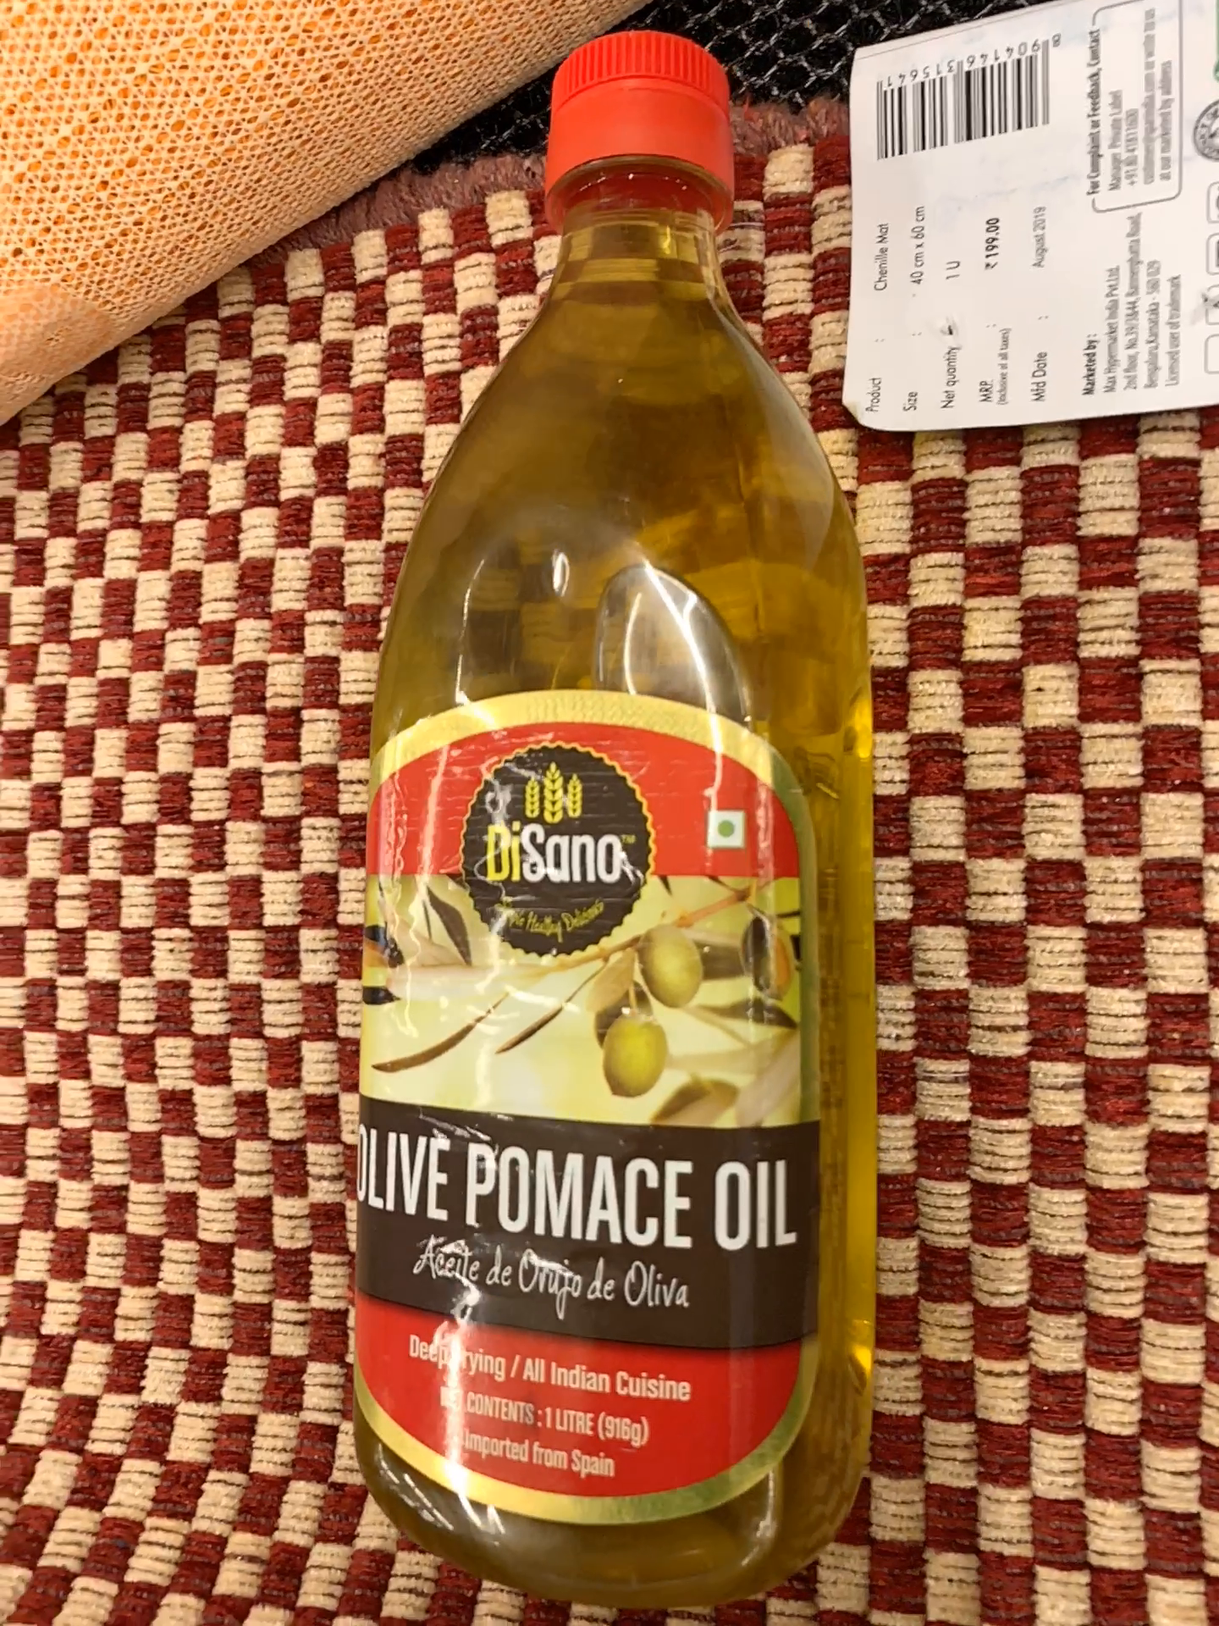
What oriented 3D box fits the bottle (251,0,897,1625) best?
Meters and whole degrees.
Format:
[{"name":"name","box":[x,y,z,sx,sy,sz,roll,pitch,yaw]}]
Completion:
[{"name":"bottle","box":[0.003,0.001,0.206,0.080,0.080,0.210,1,86,14]}]
